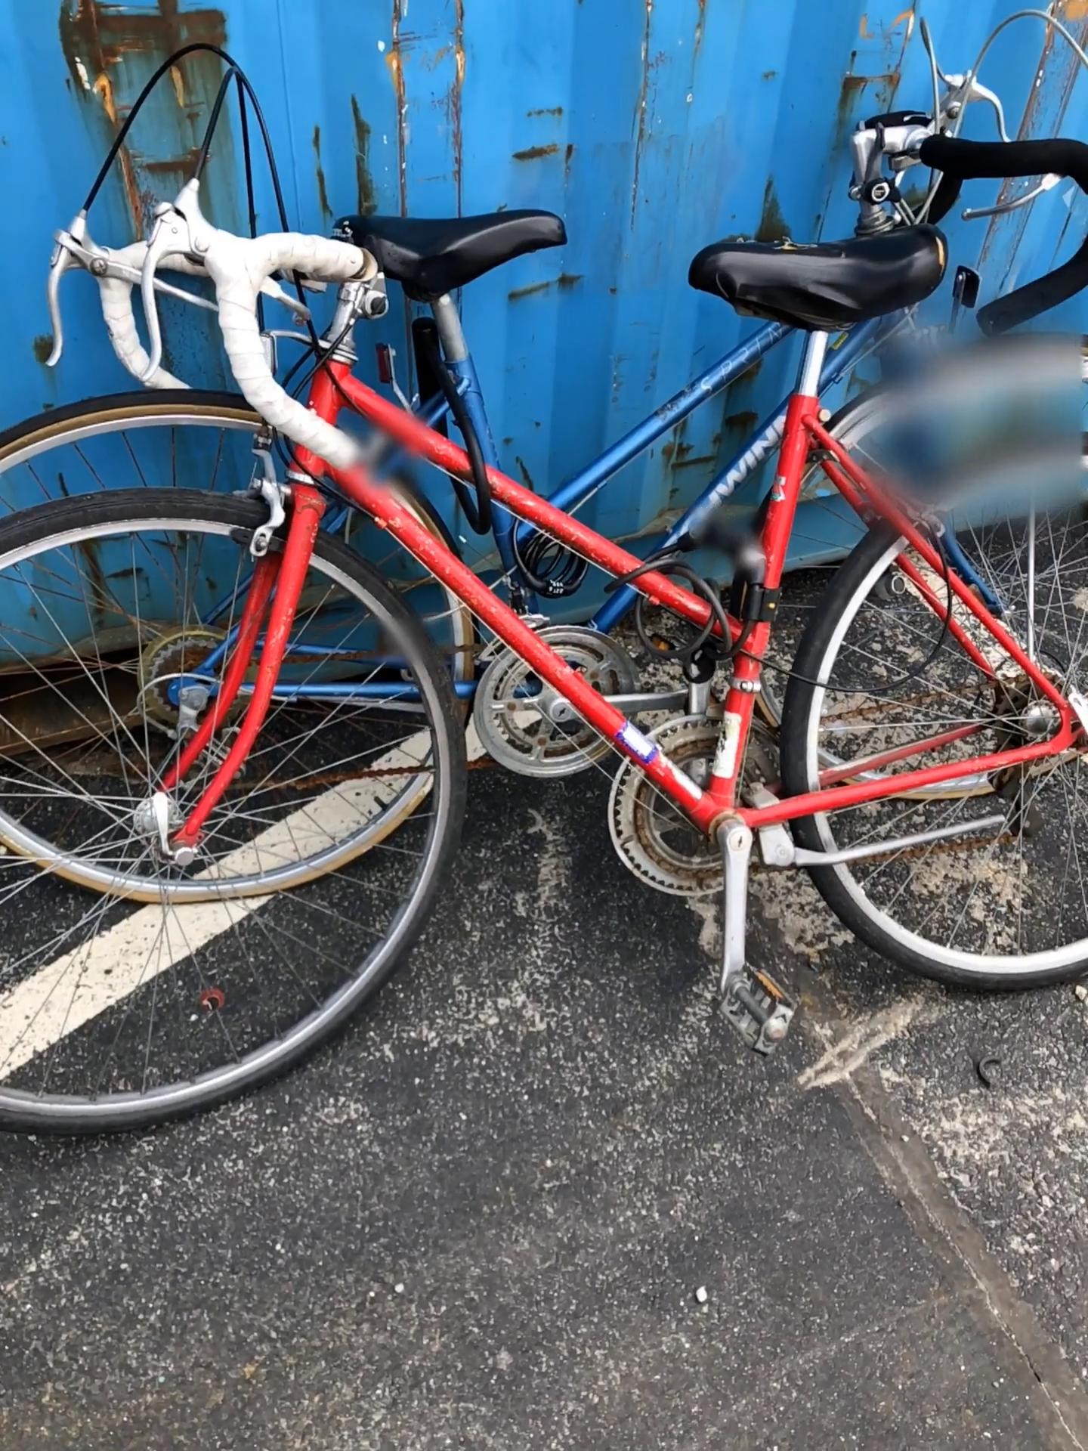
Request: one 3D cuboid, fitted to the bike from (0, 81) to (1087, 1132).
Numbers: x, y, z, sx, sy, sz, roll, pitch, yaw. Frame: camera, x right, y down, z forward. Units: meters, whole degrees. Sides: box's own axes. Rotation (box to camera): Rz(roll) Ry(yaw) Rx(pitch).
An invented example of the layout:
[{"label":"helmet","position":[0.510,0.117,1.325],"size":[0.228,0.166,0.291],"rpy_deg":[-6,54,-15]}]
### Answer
[{"label":"bike","position":[0.090,-0.161,1.312],"size":[1.641,0.824,0.485],"rpy_deg":[-9,46,-16]}]
